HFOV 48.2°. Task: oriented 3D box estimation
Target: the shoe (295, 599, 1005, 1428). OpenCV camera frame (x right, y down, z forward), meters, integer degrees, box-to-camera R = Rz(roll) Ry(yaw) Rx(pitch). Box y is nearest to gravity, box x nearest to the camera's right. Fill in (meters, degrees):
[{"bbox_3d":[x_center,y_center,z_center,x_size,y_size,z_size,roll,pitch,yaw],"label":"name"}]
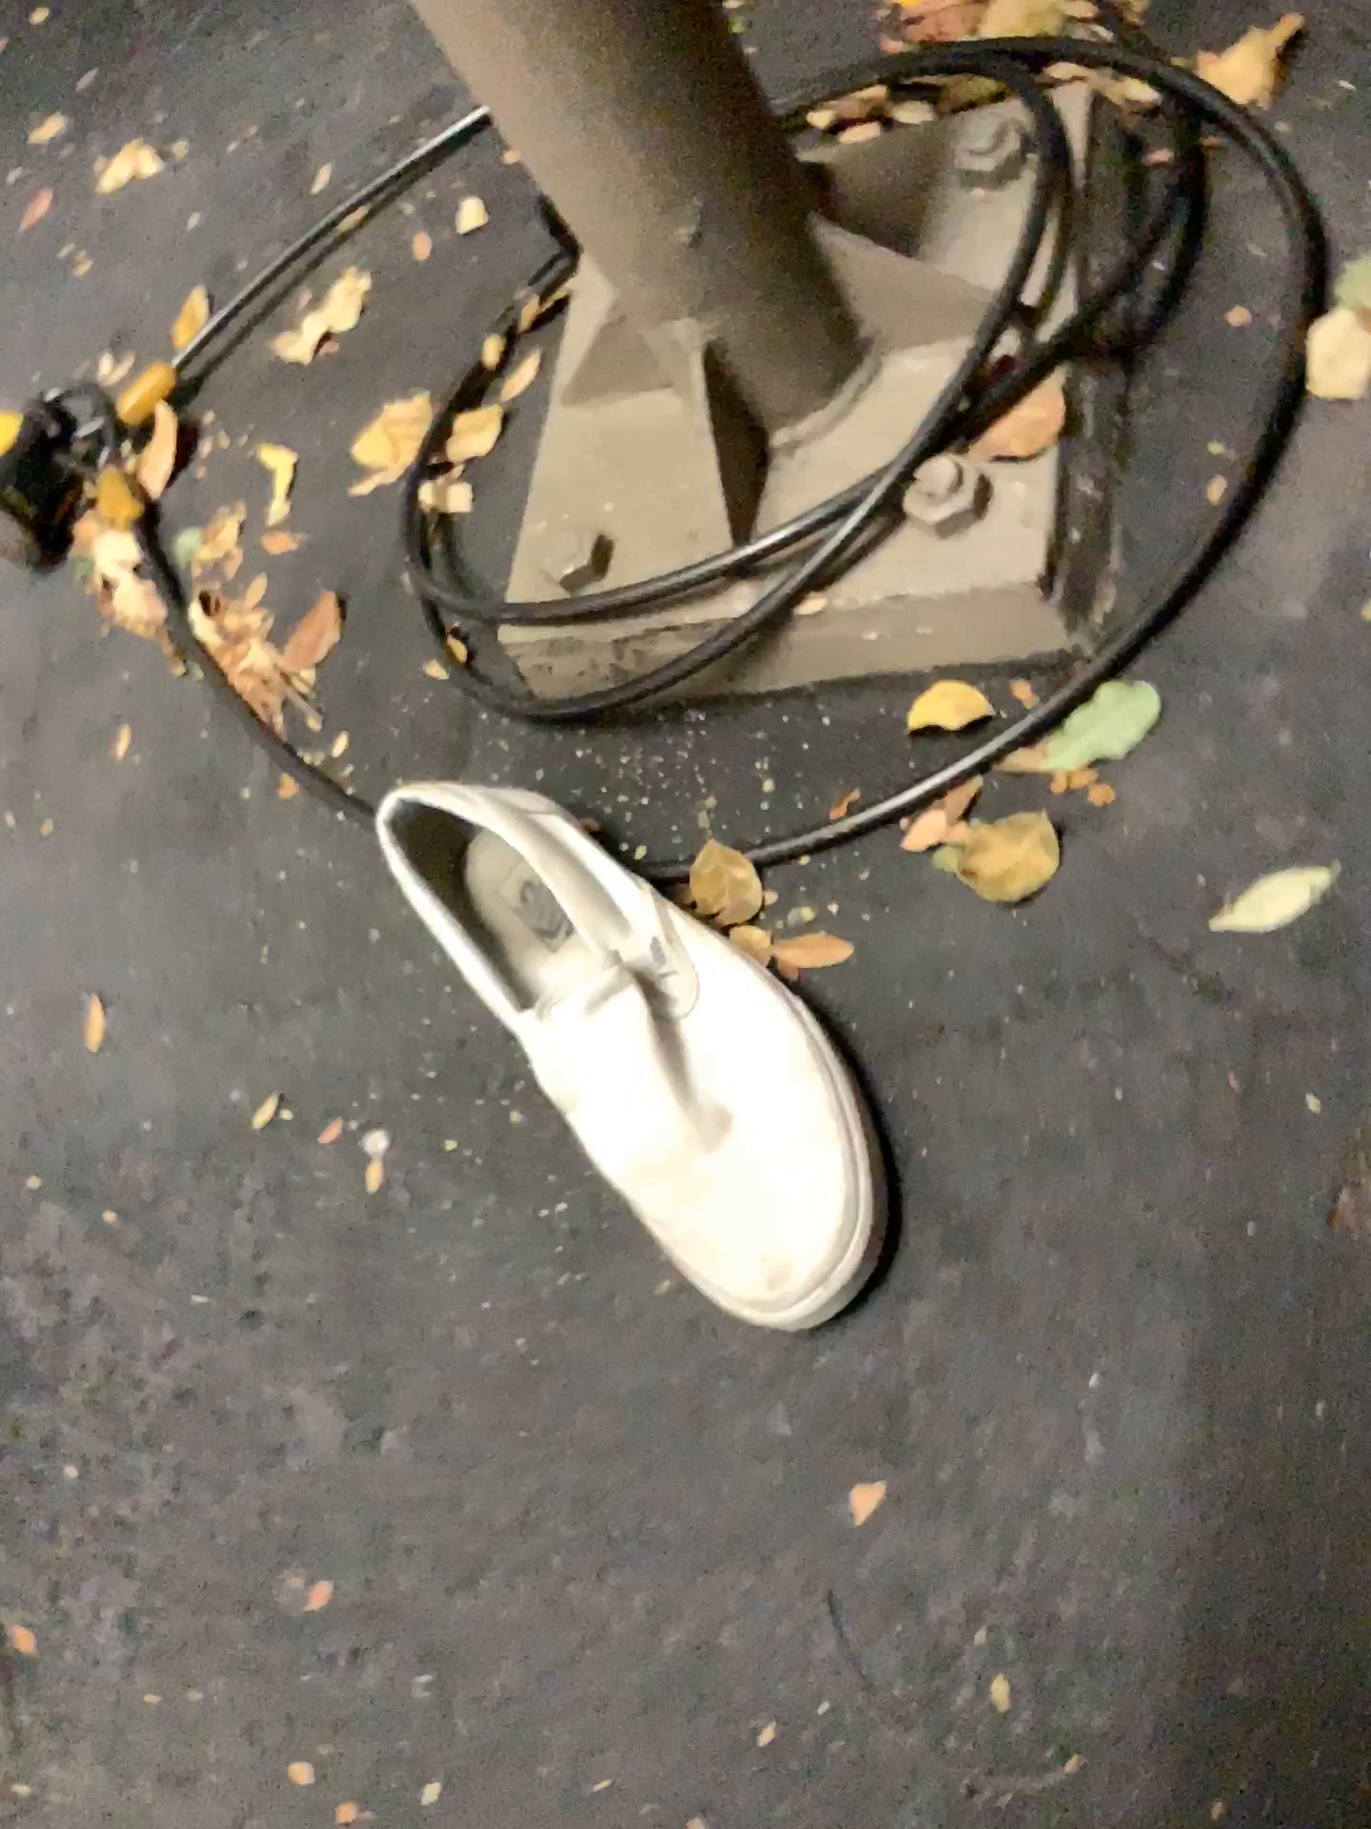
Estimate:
[{"bbox_3d":[-0.026,0.029,0.607,0.120,0.100,0.310,-40,56,7],"label":"shoe"}]
